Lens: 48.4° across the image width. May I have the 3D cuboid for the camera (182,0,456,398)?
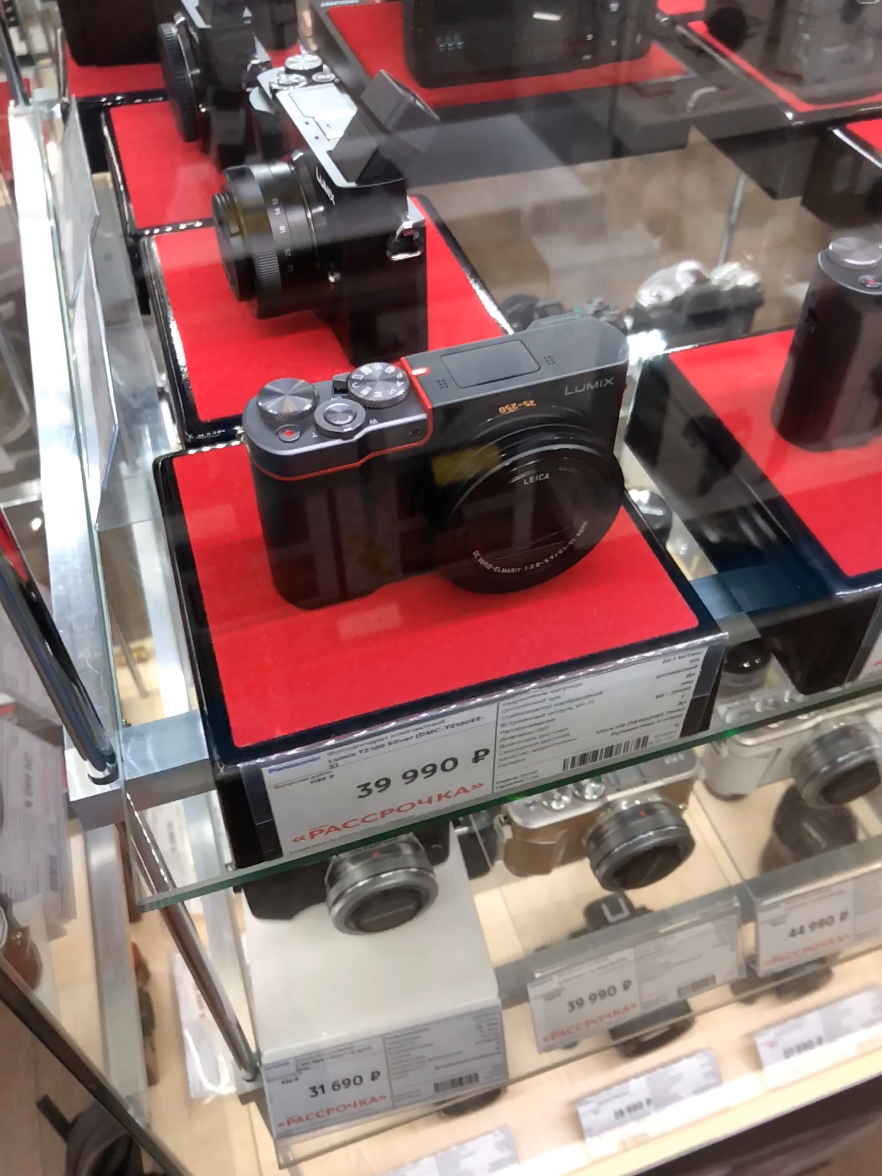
[{"bbox_3d":[-0.046,-0.155,0.380,0.069,0.101,0.113,-15,50,-13],"label":"camera"}]

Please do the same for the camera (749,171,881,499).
[{"bbox_3d":[0.171,-0.082,0.318,0.113,0.070,0.051,-12,49,-10],"label":"camera"}]

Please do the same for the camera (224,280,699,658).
[{"bbox_3d":[0.004,-0.034,0.279,0.113,0.070,0.050,-14,50,-12],"label":"camera"}]
